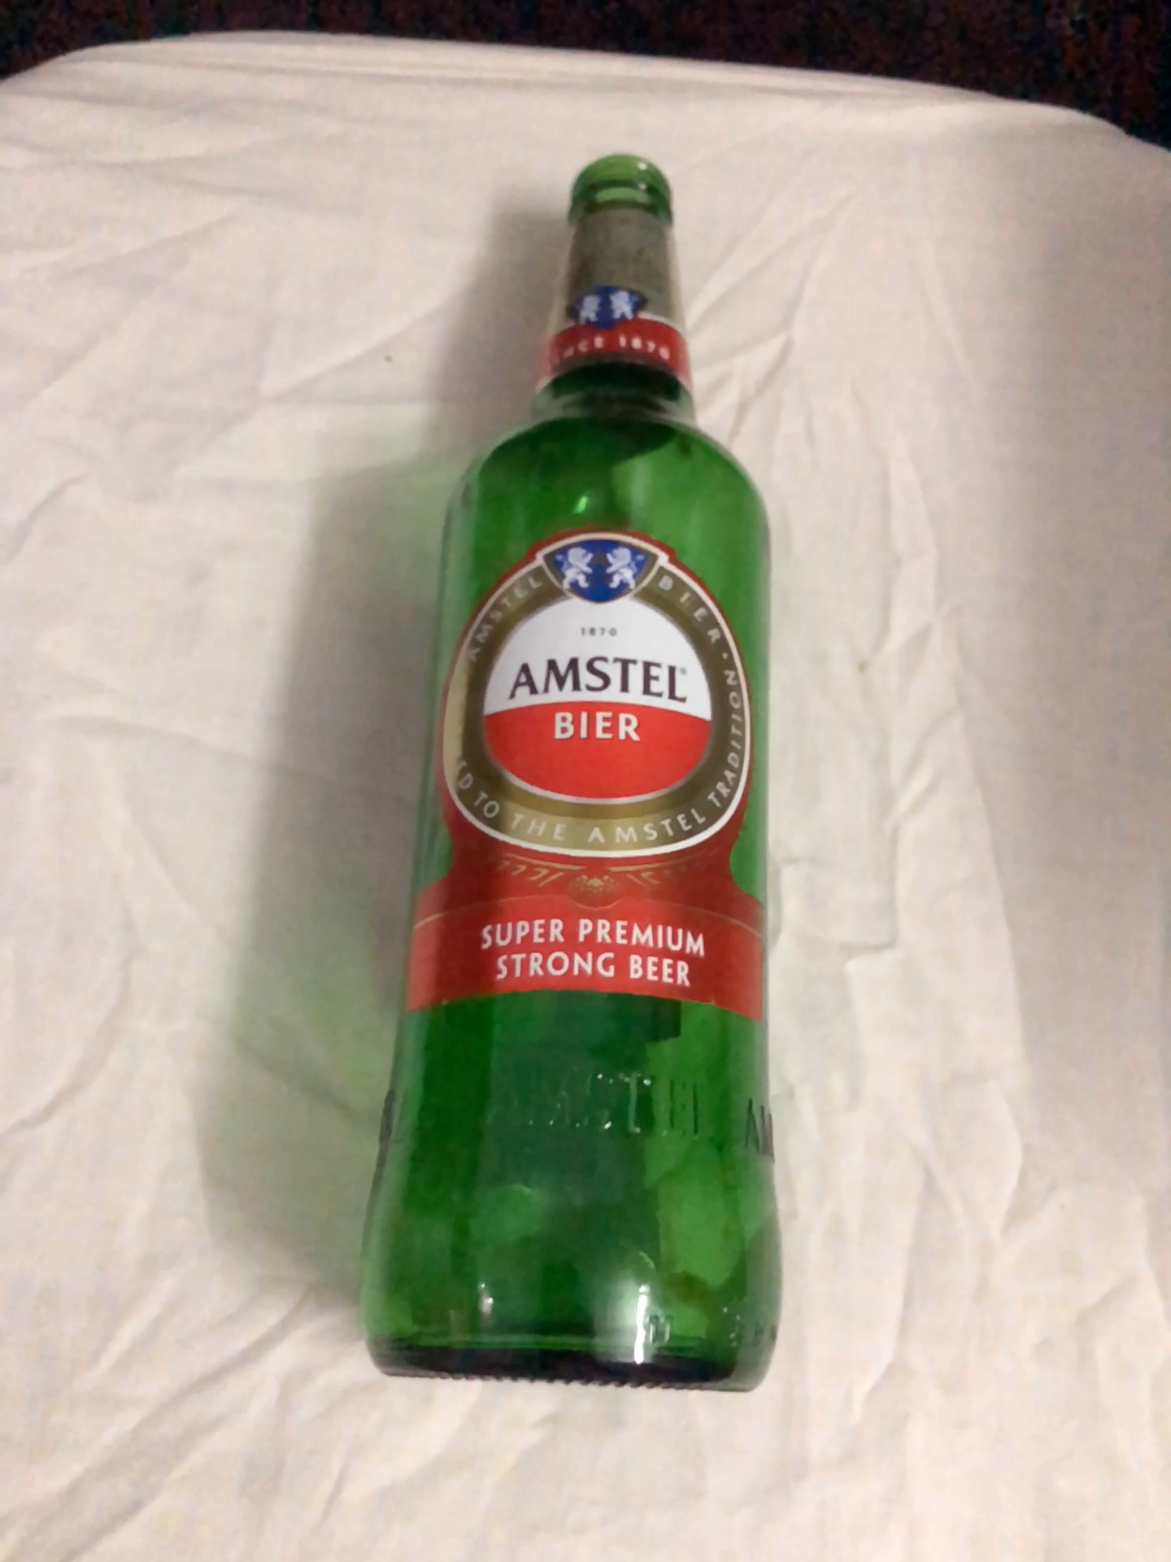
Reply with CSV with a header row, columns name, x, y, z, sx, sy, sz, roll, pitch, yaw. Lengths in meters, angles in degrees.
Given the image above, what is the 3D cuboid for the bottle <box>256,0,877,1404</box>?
name,x,y,z,sx,sy,sz,roll,pitch,yaw
bottle,0.003,-0.057,0.307,0.090,0.080,0.361,4,63,-2
